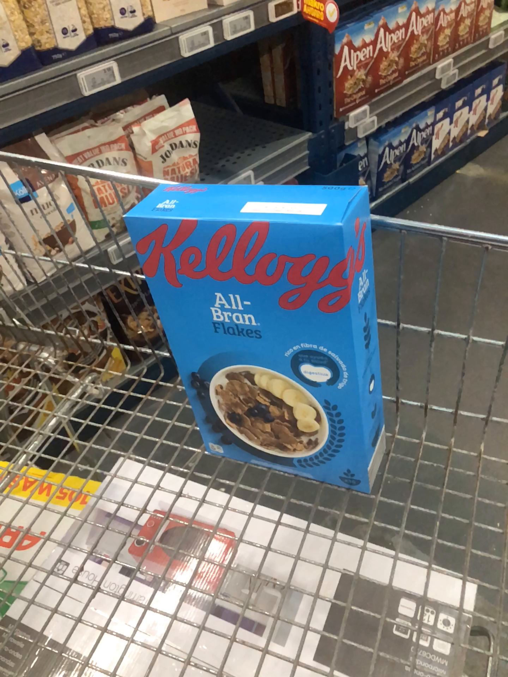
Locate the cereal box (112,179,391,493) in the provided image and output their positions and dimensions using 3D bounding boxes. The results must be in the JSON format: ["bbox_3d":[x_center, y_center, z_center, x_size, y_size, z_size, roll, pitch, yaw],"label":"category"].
[{"bbox_3d":[0.015,0.002,0.511,0.200,0.269,0.080,8,41,23],"label":"cereal box"}]
